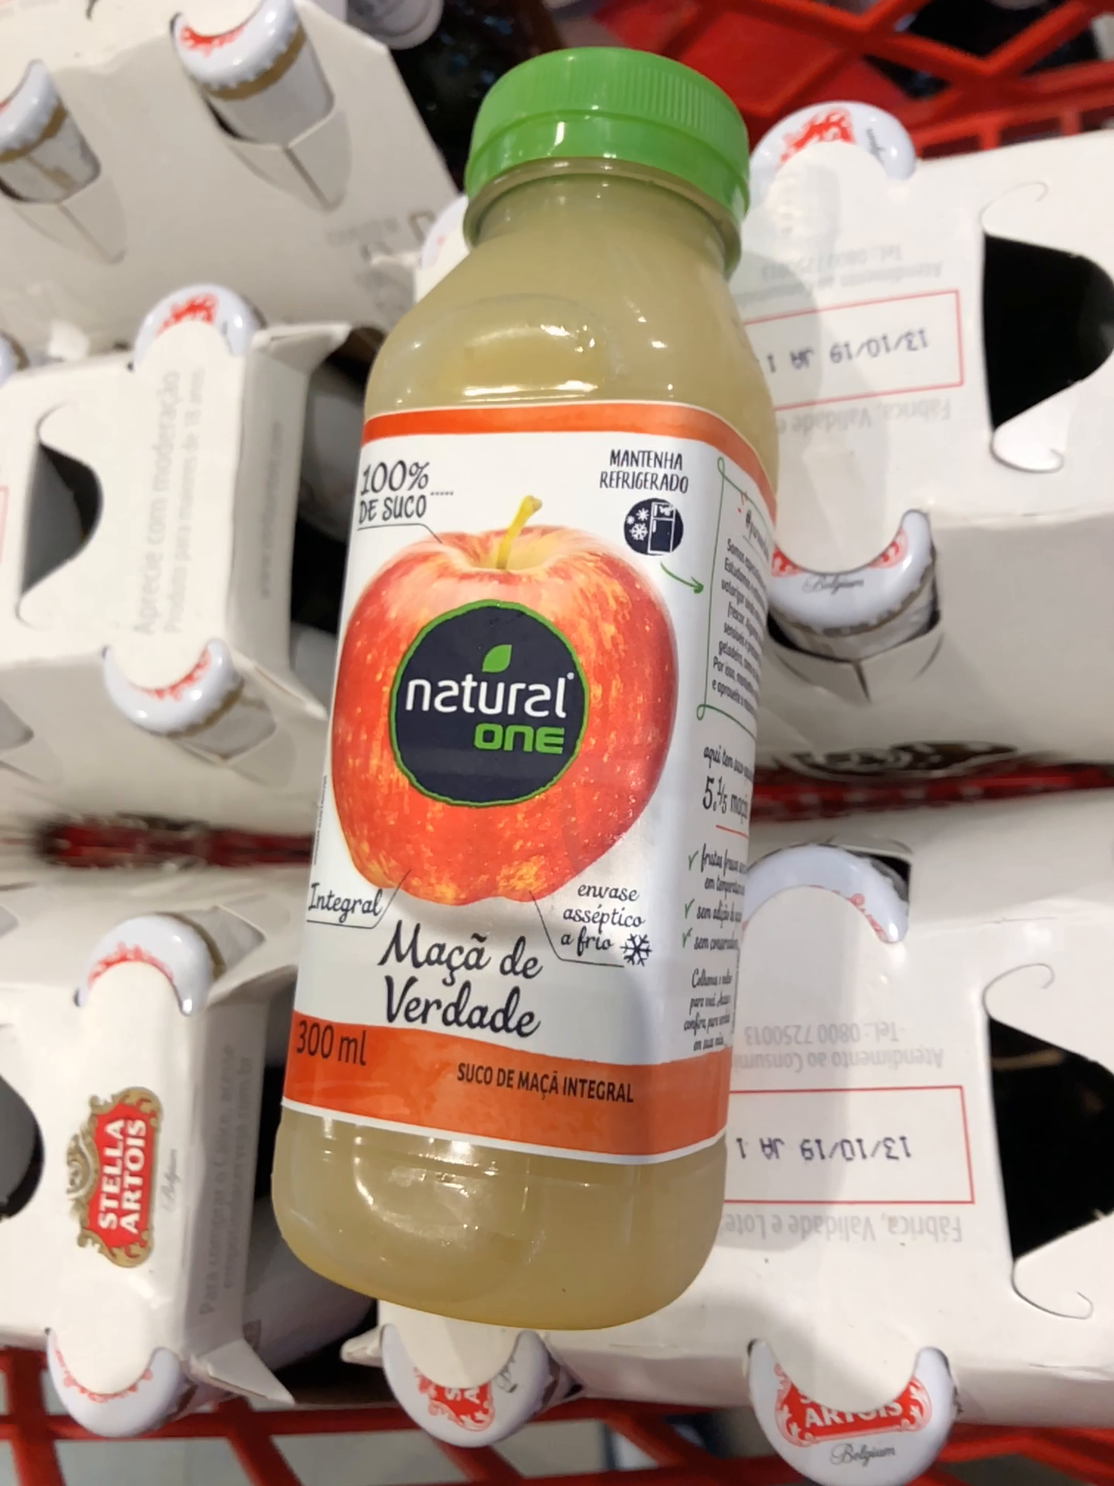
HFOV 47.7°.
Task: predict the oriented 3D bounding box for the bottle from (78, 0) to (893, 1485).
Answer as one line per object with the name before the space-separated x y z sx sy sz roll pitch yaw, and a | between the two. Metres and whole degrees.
bottle | 0.000 -0.019 0.161 0.060 0.060 0.180 4 81 23
